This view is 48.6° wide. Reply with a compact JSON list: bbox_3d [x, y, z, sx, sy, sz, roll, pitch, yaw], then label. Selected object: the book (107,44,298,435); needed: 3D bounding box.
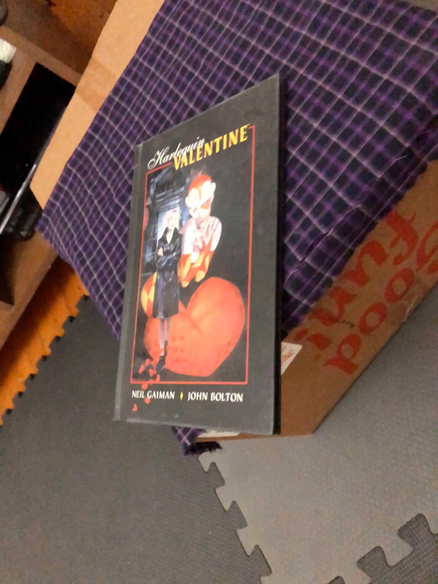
[{"bbox_3d":[-0.018,-0.035,0.396,0.181,0.020,0.280,-10,72,41],"label":"book"}]
